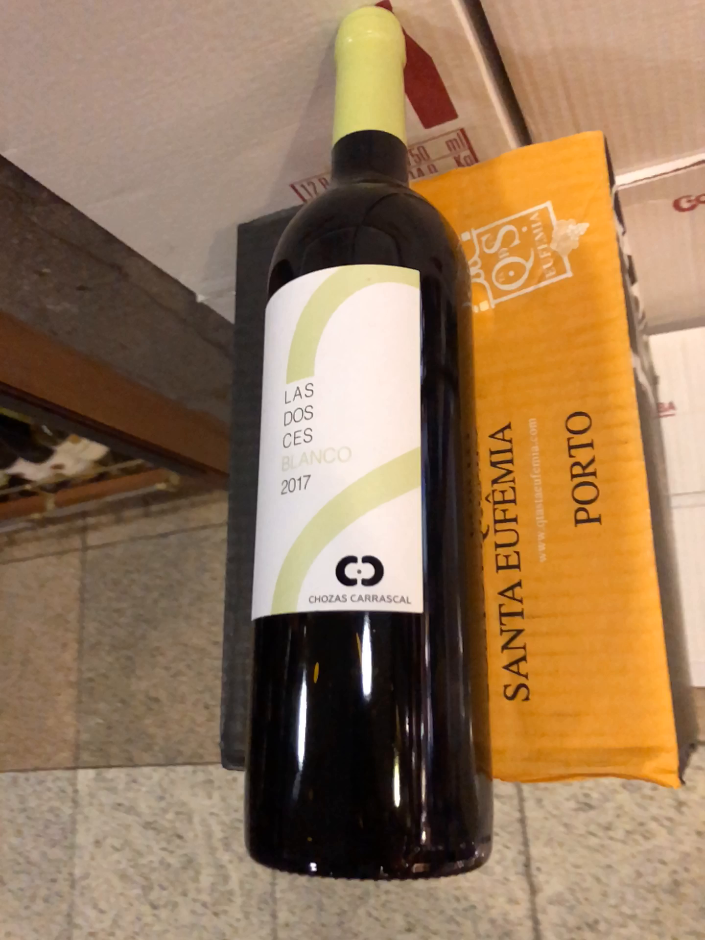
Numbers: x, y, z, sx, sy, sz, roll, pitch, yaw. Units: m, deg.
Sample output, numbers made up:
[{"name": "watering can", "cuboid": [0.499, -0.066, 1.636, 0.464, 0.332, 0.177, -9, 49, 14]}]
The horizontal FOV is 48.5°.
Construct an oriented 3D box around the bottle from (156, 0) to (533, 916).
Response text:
[{"name": "bottle", "cuboid": [-0.002, -0.039, 0.270, 0.090, 0.070, 0.320, -7, 74, 24]}]
